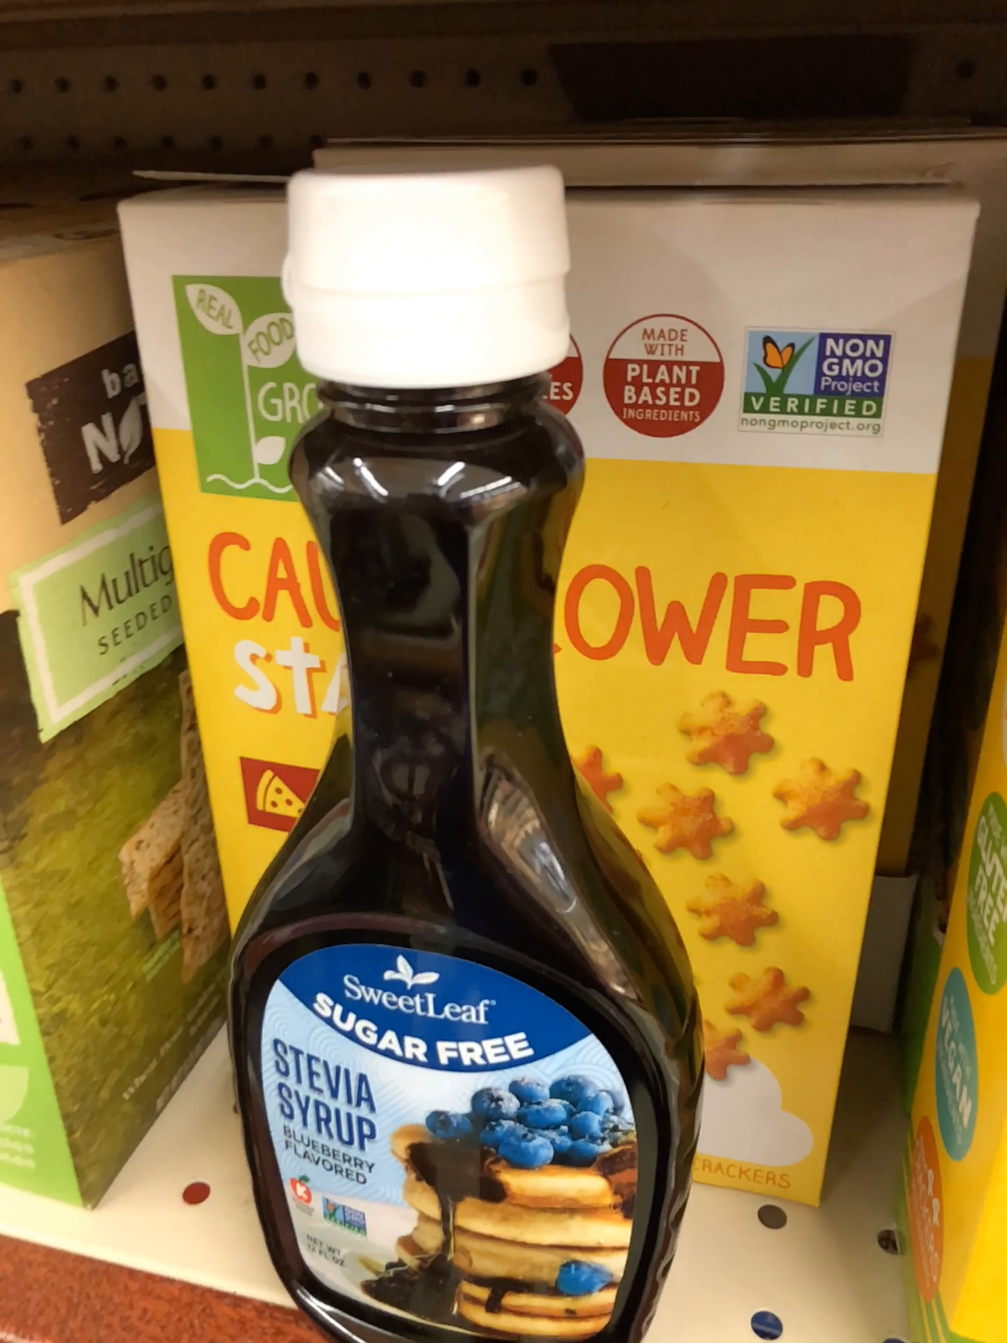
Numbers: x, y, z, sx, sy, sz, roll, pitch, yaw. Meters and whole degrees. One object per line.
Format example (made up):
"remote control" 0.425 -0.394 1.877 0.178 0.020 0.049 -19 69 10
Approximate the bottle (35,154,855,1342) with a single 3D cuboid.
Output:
"bottle" -0.002 0.032 0.174 0.080 0.199 0.050 8 29 17
